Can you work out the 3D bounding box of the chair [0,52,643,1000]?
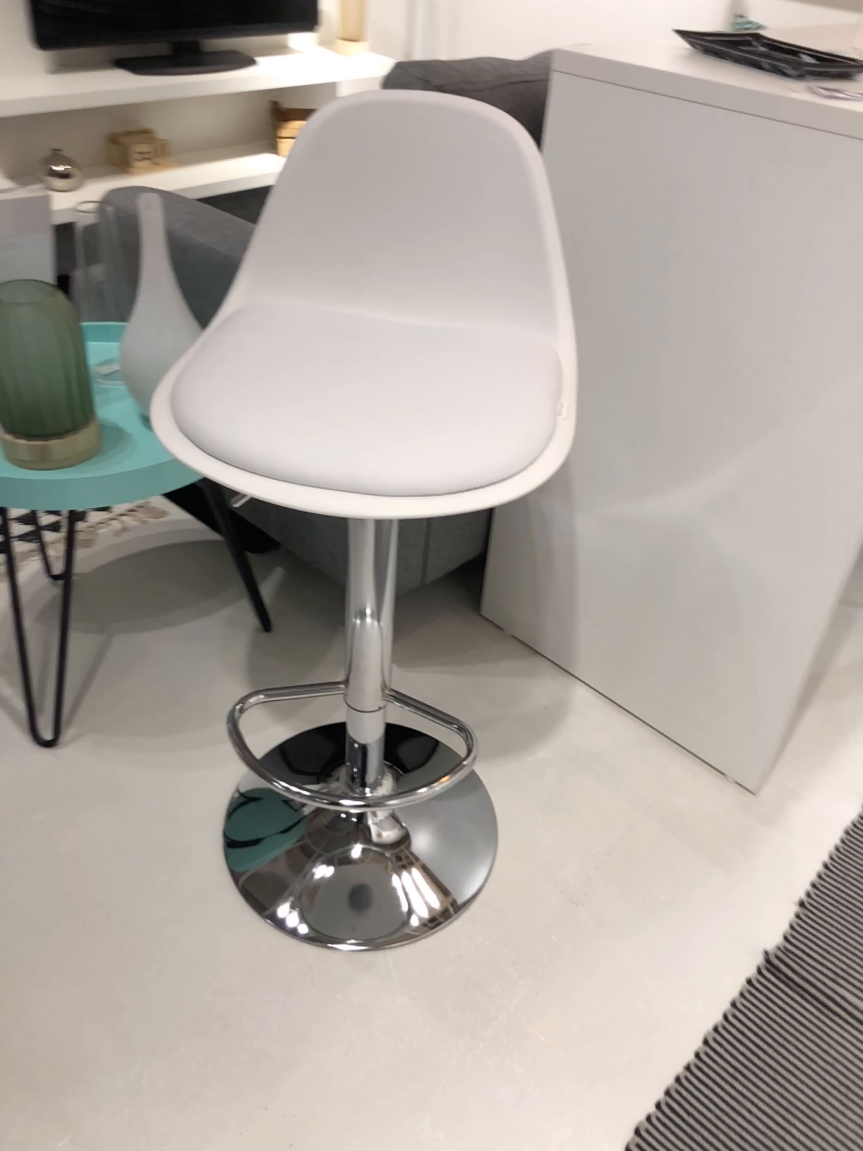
[{"bbox_3d":[-0.076,-0.020,1.034,0.410,0.883,0.423,11,38,9],"label":"chair"}]
